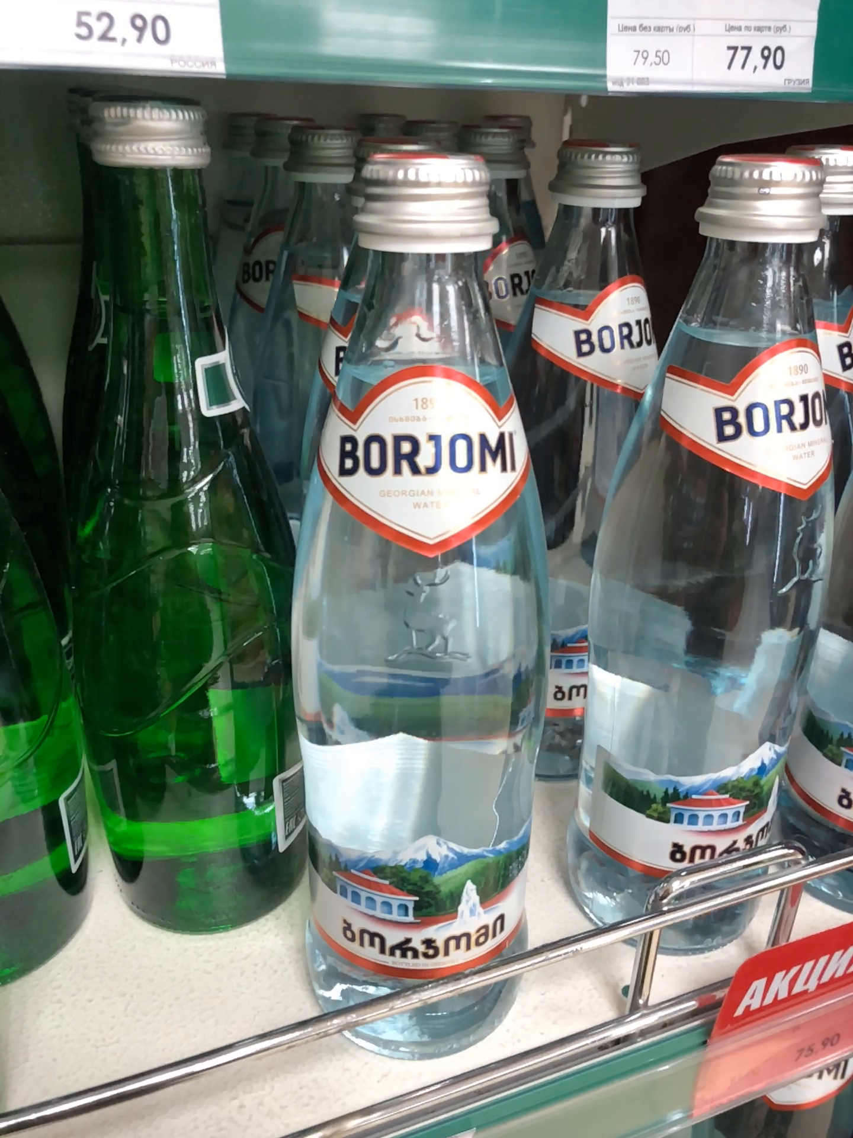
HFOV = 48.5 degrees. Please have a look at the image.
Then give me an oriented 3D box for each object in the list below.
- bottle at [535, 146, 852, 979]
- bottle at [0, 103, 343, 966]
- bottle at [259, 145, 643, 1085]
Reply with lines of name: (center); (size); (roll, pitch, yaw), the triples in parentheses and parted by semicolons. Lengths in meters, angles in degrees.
bottle: (0.084, 0.004, 0.283); (0.069, 0.236, 0.065); (1, 24, 0)
bottle: (-0.074, -0.006, 0.283); (0.069, 0.237, 0.065); (1, 24, 0)
bottle: (-0.001, 0.019, 0.248); (0.068, 0.236, 0.063); (1, 24, 0)
